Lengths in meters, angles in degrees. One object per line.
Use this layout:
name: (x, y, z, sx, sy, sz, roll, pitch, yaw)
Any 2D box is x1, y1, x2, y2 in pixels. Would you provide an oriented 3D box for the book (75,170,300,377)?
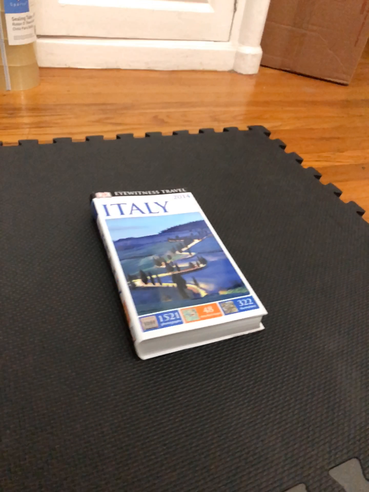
book: (-0.015, 0.004, 0.448, 0.160, 0.040, 0.251, -9, 43, -21)
